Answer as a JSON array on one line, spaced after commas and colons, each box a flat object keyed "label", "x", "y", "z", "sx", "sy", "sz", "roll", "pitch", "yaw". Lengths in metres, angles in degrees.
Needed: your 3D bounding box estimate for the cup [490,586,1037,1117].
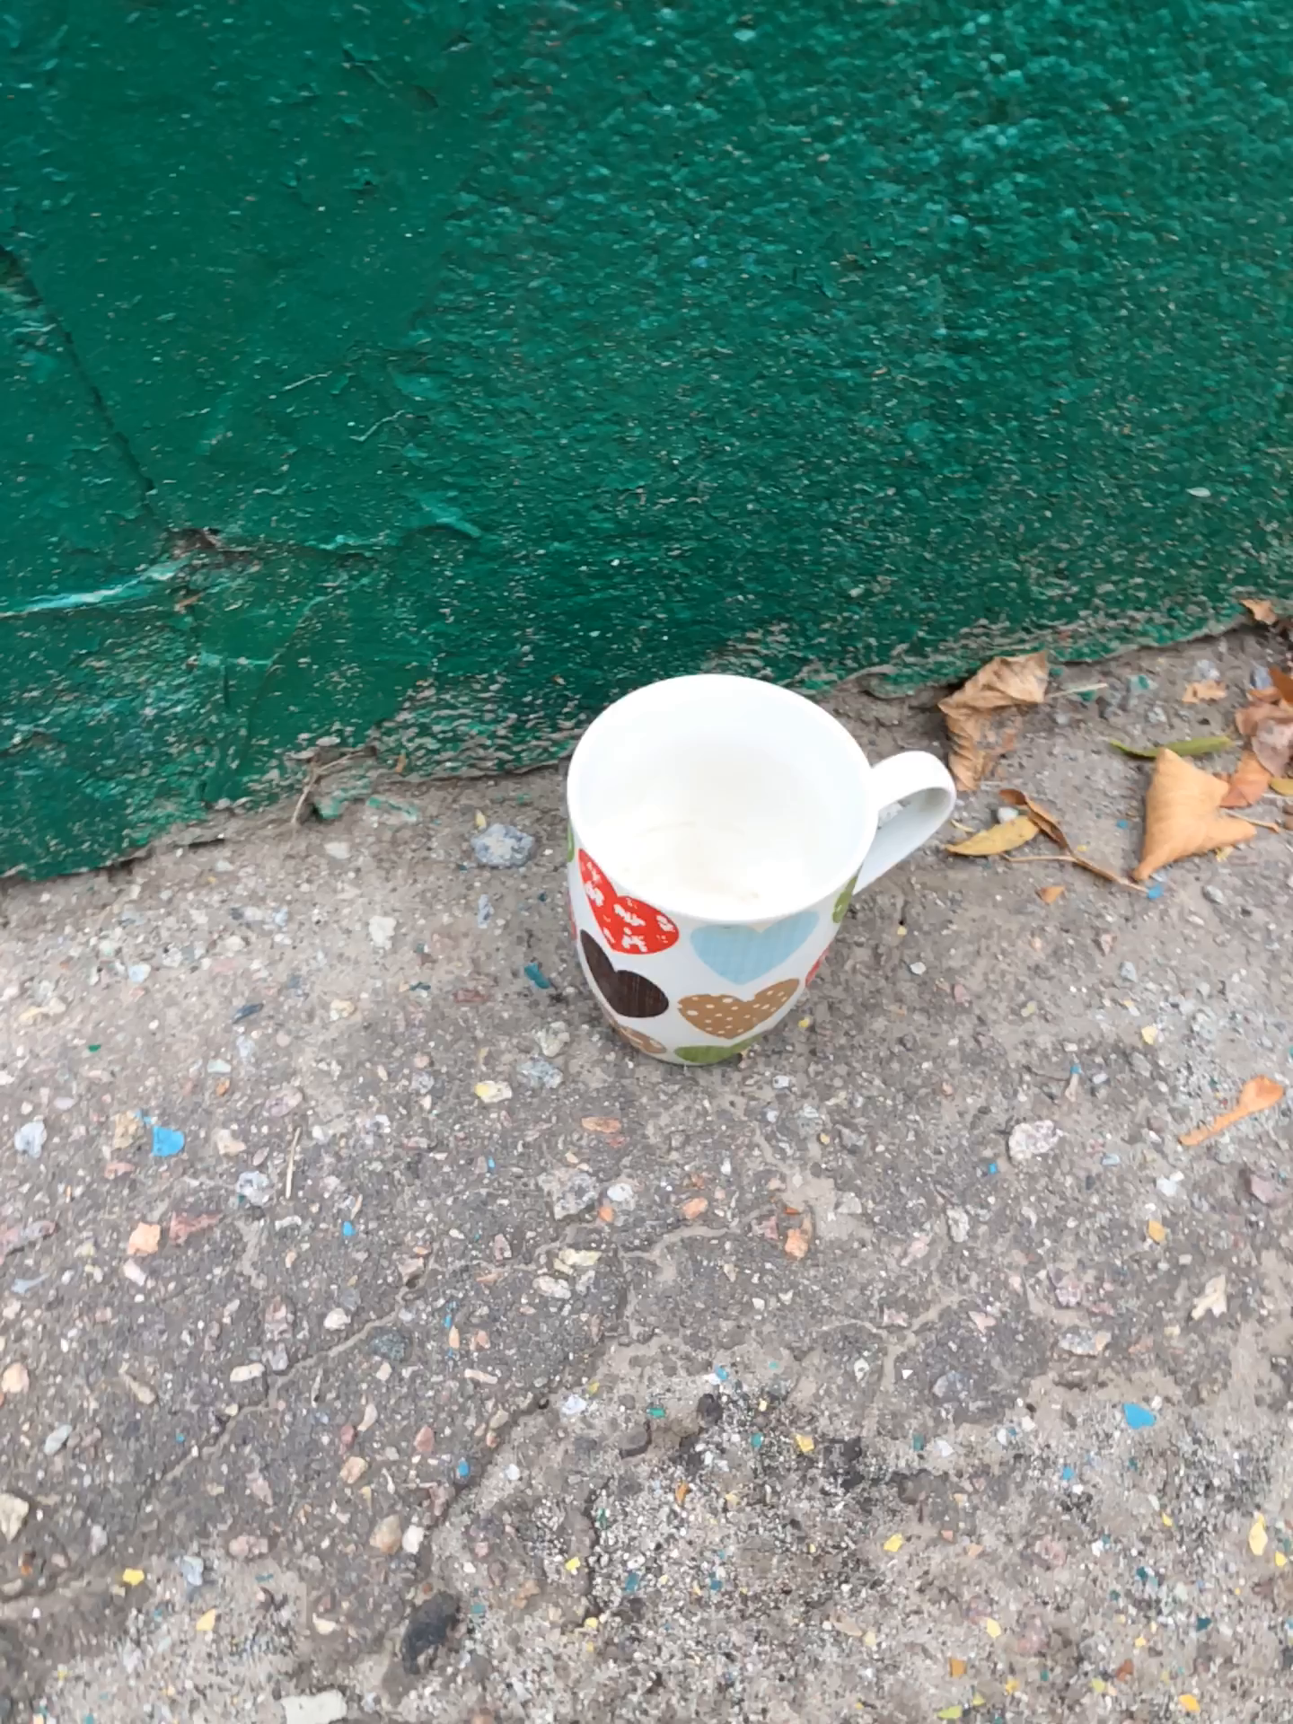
[{"label": "cup", "x": 0.028, "y": -0.005, "z": 0.401, "sx": 0.116, "sy": 0.079, "sz": 0.082, "roll": -25, "pitch": 59, "yaw": -24}]
